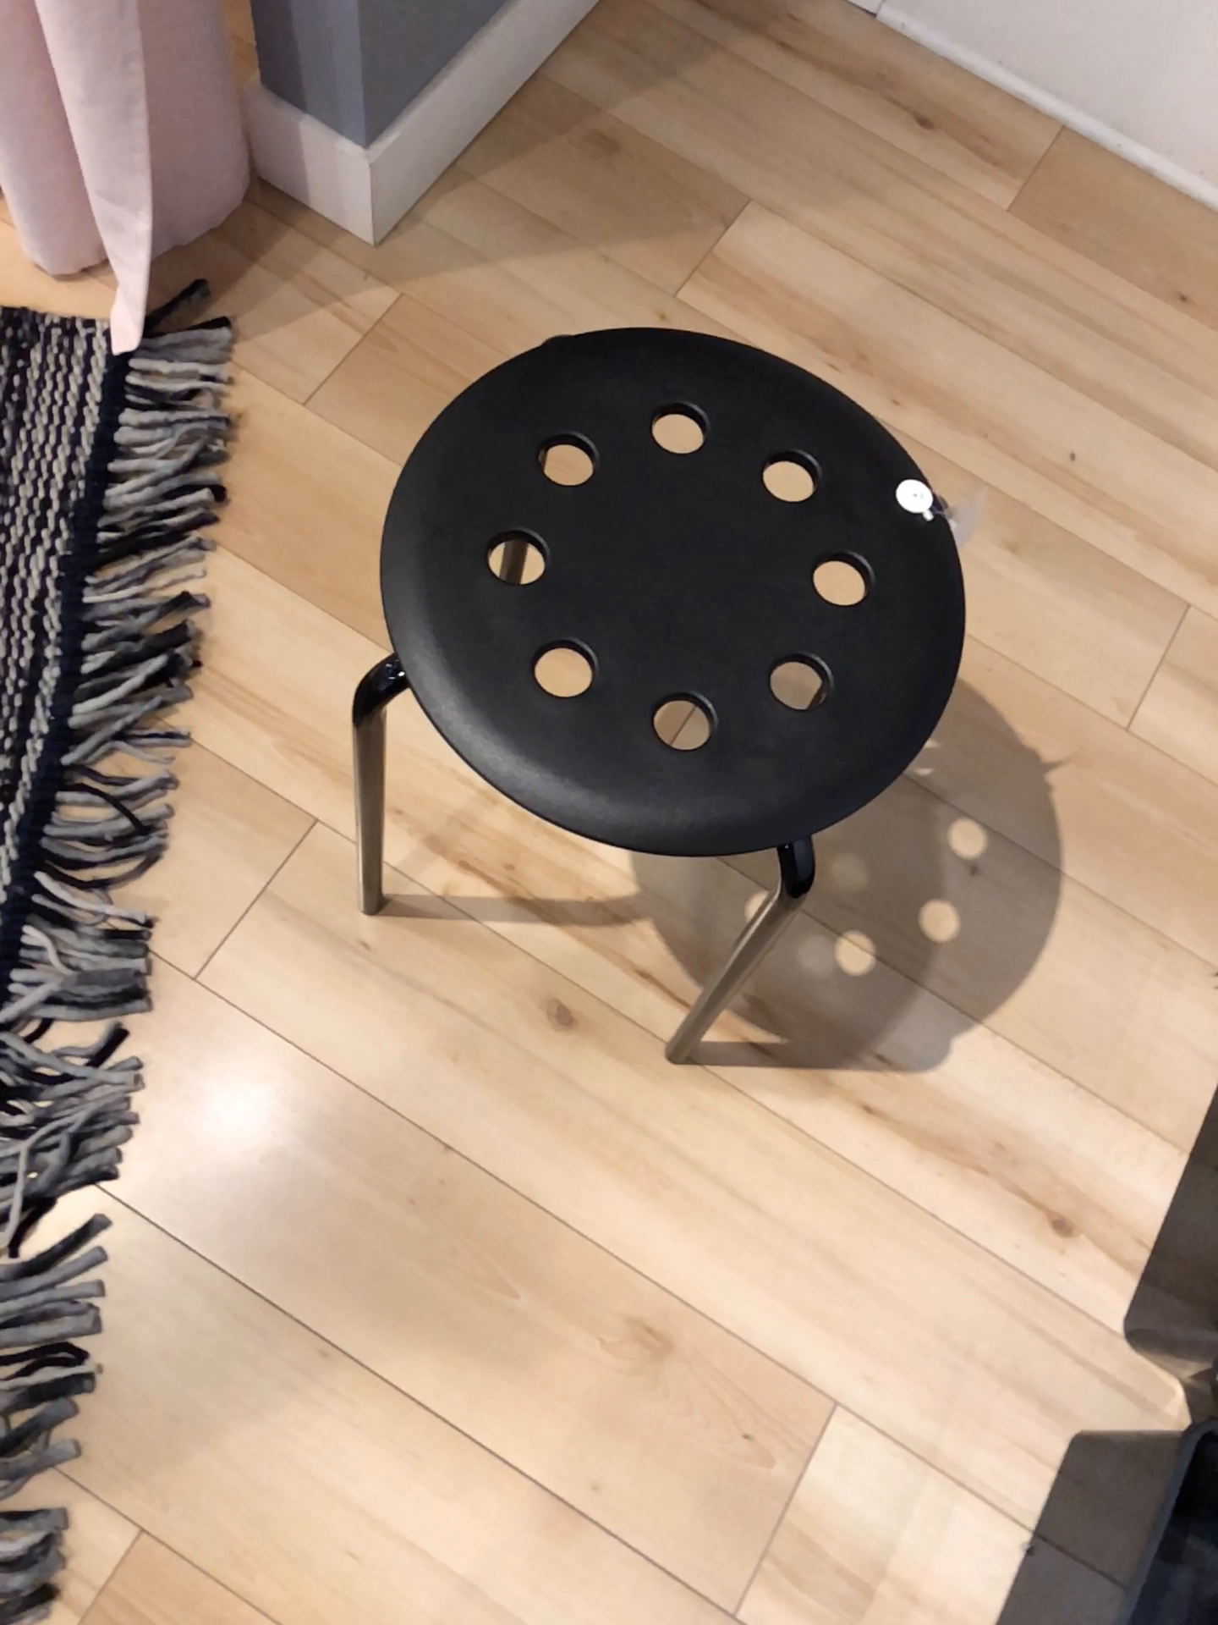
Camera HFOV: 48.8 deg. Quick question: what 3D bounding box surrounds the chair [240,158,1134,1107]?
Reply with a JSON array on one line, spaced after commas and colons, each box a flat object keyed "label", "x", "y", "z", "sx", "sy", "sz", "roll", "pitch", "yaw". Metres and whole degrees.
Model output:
[{"label": "chair", "x": 0.037, "y": -0.082, "z": 0.909, "sx": 0.370, "sy": 0.400, "sz": 0.380, "roll": 25, "pitch": 69, "yaw": 1}]
